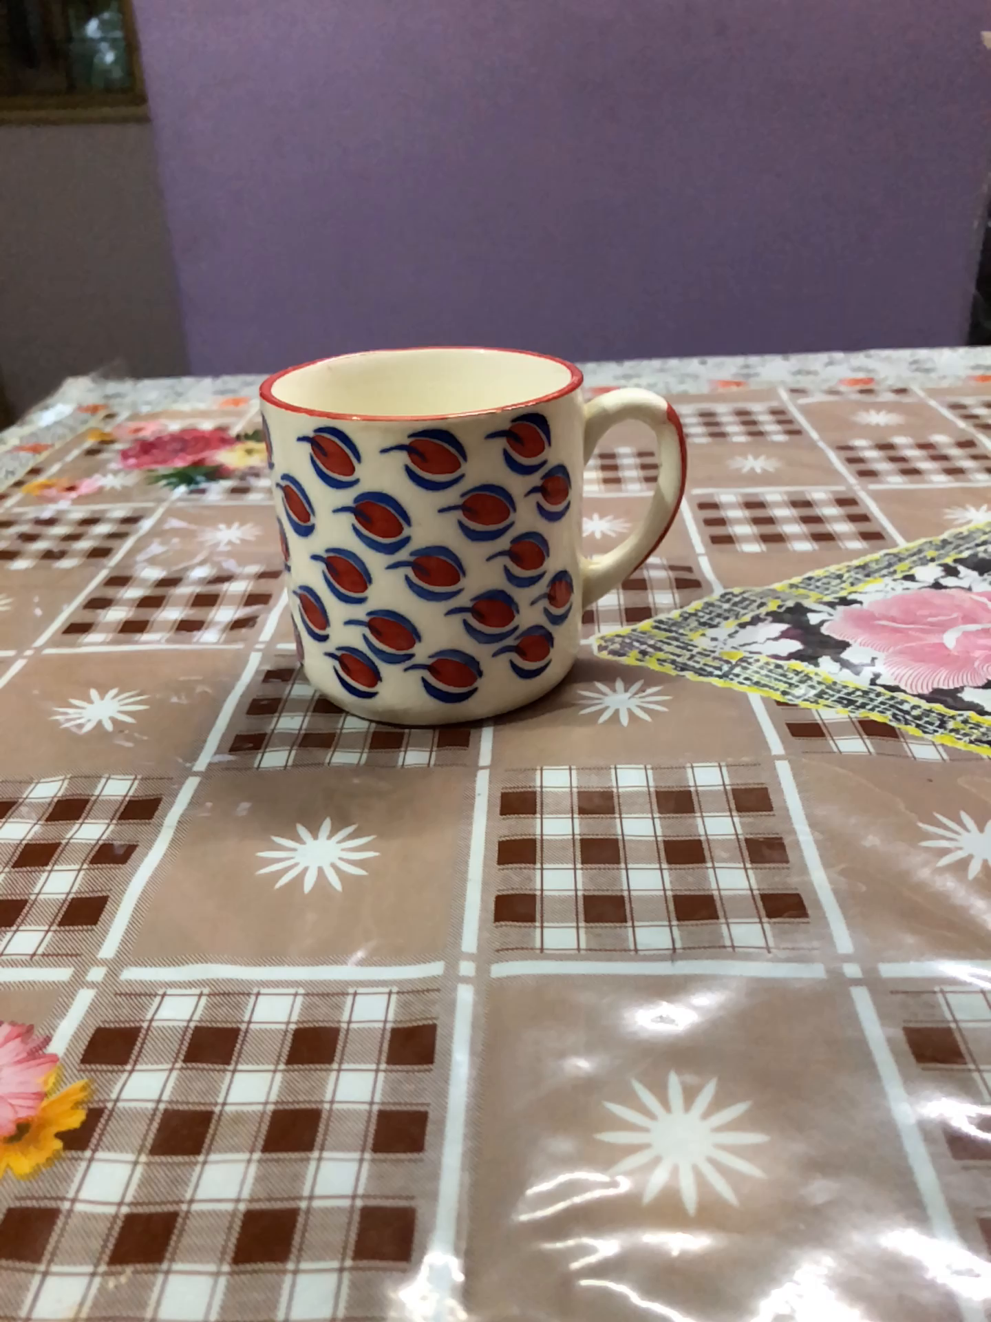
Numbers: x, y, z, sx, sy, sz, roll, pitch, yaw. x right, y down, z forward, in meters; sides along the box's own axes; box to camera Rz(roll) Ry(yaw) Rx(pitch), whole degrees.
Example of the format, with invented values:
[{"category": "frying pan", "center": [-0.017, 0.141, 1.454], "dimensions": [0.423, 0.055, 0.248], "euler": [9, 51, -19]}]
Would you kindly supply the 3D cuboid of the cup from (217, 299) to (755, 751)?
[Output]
[{"category": "cup", "center": [-0.006, -0.039, 0.275], "dimensions": [0.110, 0.080, 0.080], "euler": [-7, 27, -9]}]
